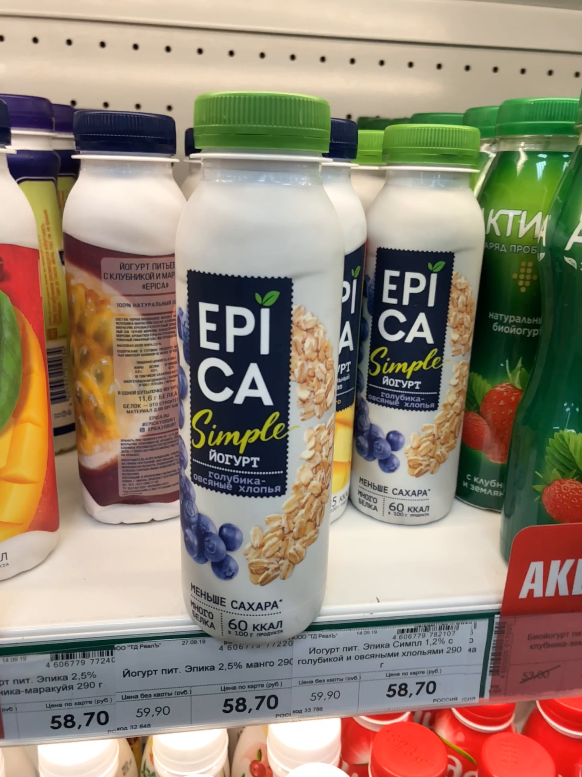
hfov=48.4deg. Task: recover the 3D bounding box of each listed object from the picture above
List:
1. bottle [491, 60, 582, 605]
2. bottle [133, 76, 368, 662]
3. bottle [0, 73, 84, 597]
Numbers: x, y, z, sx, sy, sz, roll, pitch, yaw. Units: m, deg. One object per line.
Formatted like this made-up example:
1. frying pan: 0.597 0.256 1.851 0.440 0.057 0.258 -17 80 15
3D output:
1. bottle: 0.115 -0.017 0.240 0.053 0.182 0.052 2 19 -1
2. bottle: -0.011 -0.004 0.210 0.053 0.170 0.052 2 19 -1
3. bottle: -0.117 -0.016 0.233 0.053 0.170 0.049 2 19 -1
